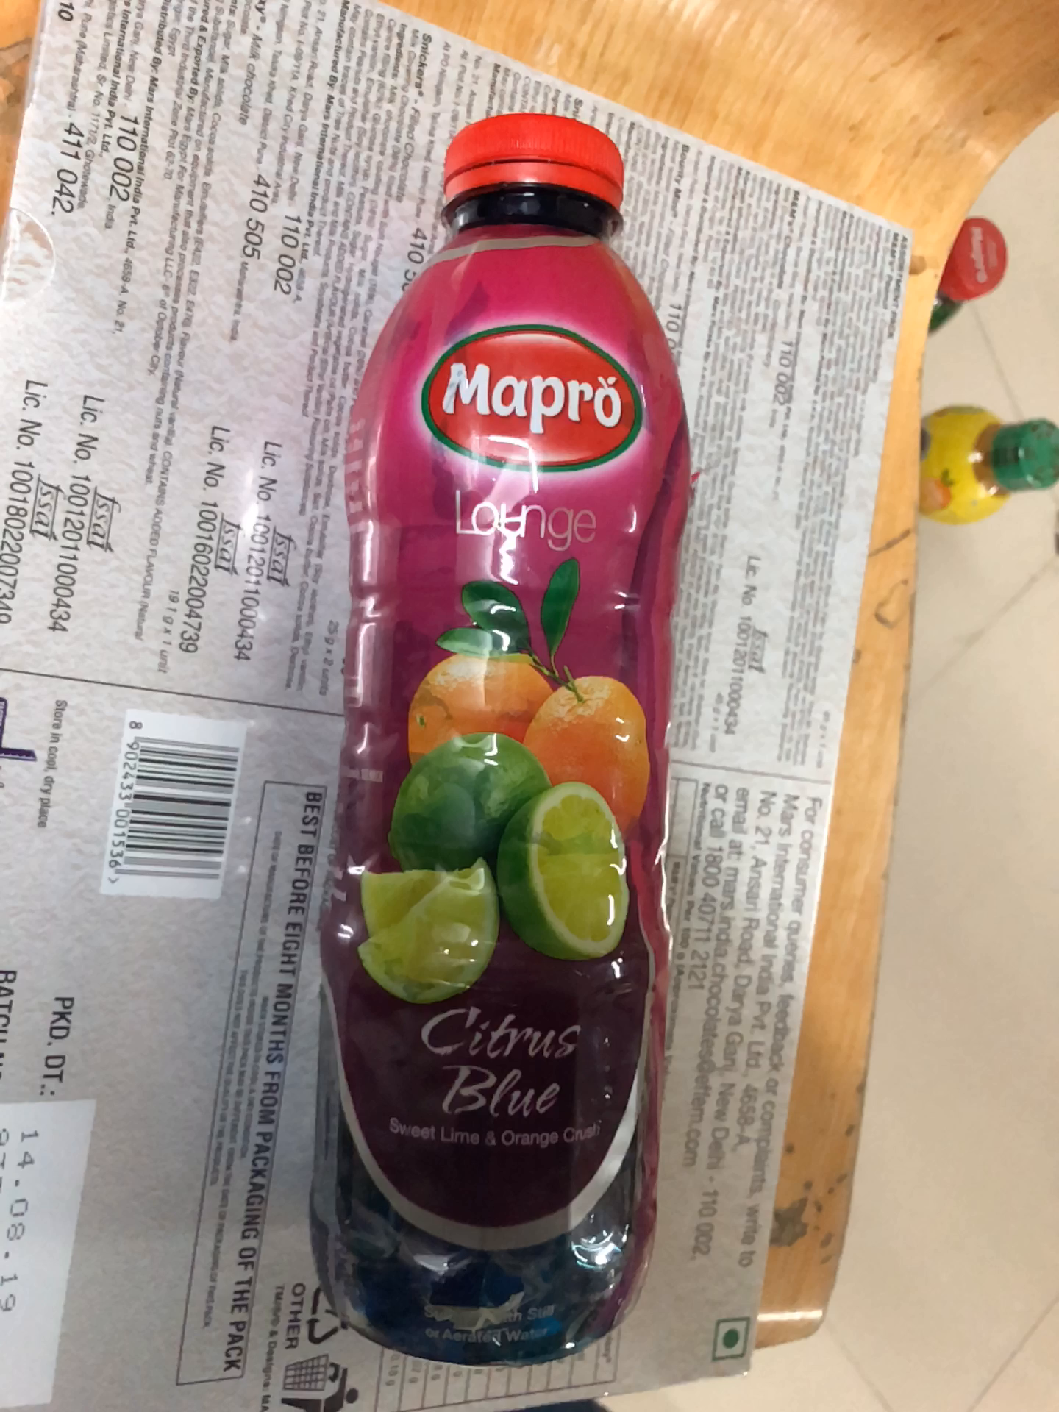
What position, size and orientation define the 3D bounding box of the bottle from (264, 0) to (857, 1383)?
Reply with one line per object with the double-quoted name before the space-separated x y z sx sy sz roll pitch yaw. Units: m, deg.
"bottle" 0.002 -0.008 0.259 0.090 0.080 0.270 4 94 -3
